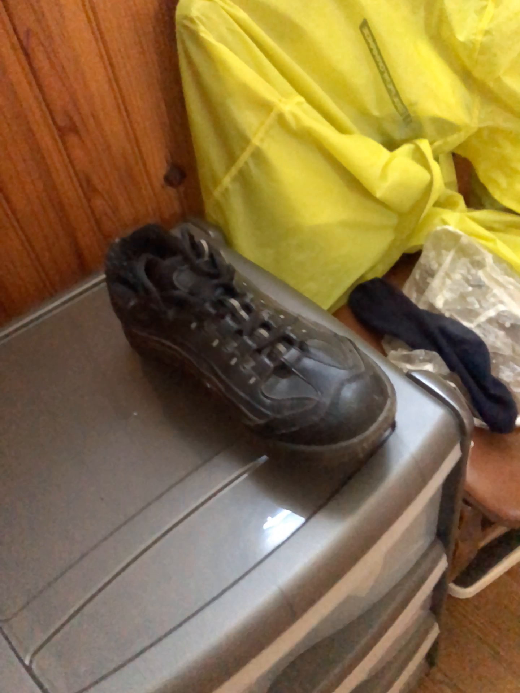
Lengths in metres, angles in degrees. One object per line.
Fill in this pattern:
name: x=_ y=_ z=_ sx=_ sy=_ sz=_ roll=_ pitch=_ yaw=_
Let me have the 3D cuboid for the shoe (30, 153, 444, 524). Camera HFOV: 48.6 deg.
shoe: x=-0.023 y=-0.023 z=0.411 sx=0.270 sy=0.129 sz=0.110 roll=30 pitch=59 yaw=35
